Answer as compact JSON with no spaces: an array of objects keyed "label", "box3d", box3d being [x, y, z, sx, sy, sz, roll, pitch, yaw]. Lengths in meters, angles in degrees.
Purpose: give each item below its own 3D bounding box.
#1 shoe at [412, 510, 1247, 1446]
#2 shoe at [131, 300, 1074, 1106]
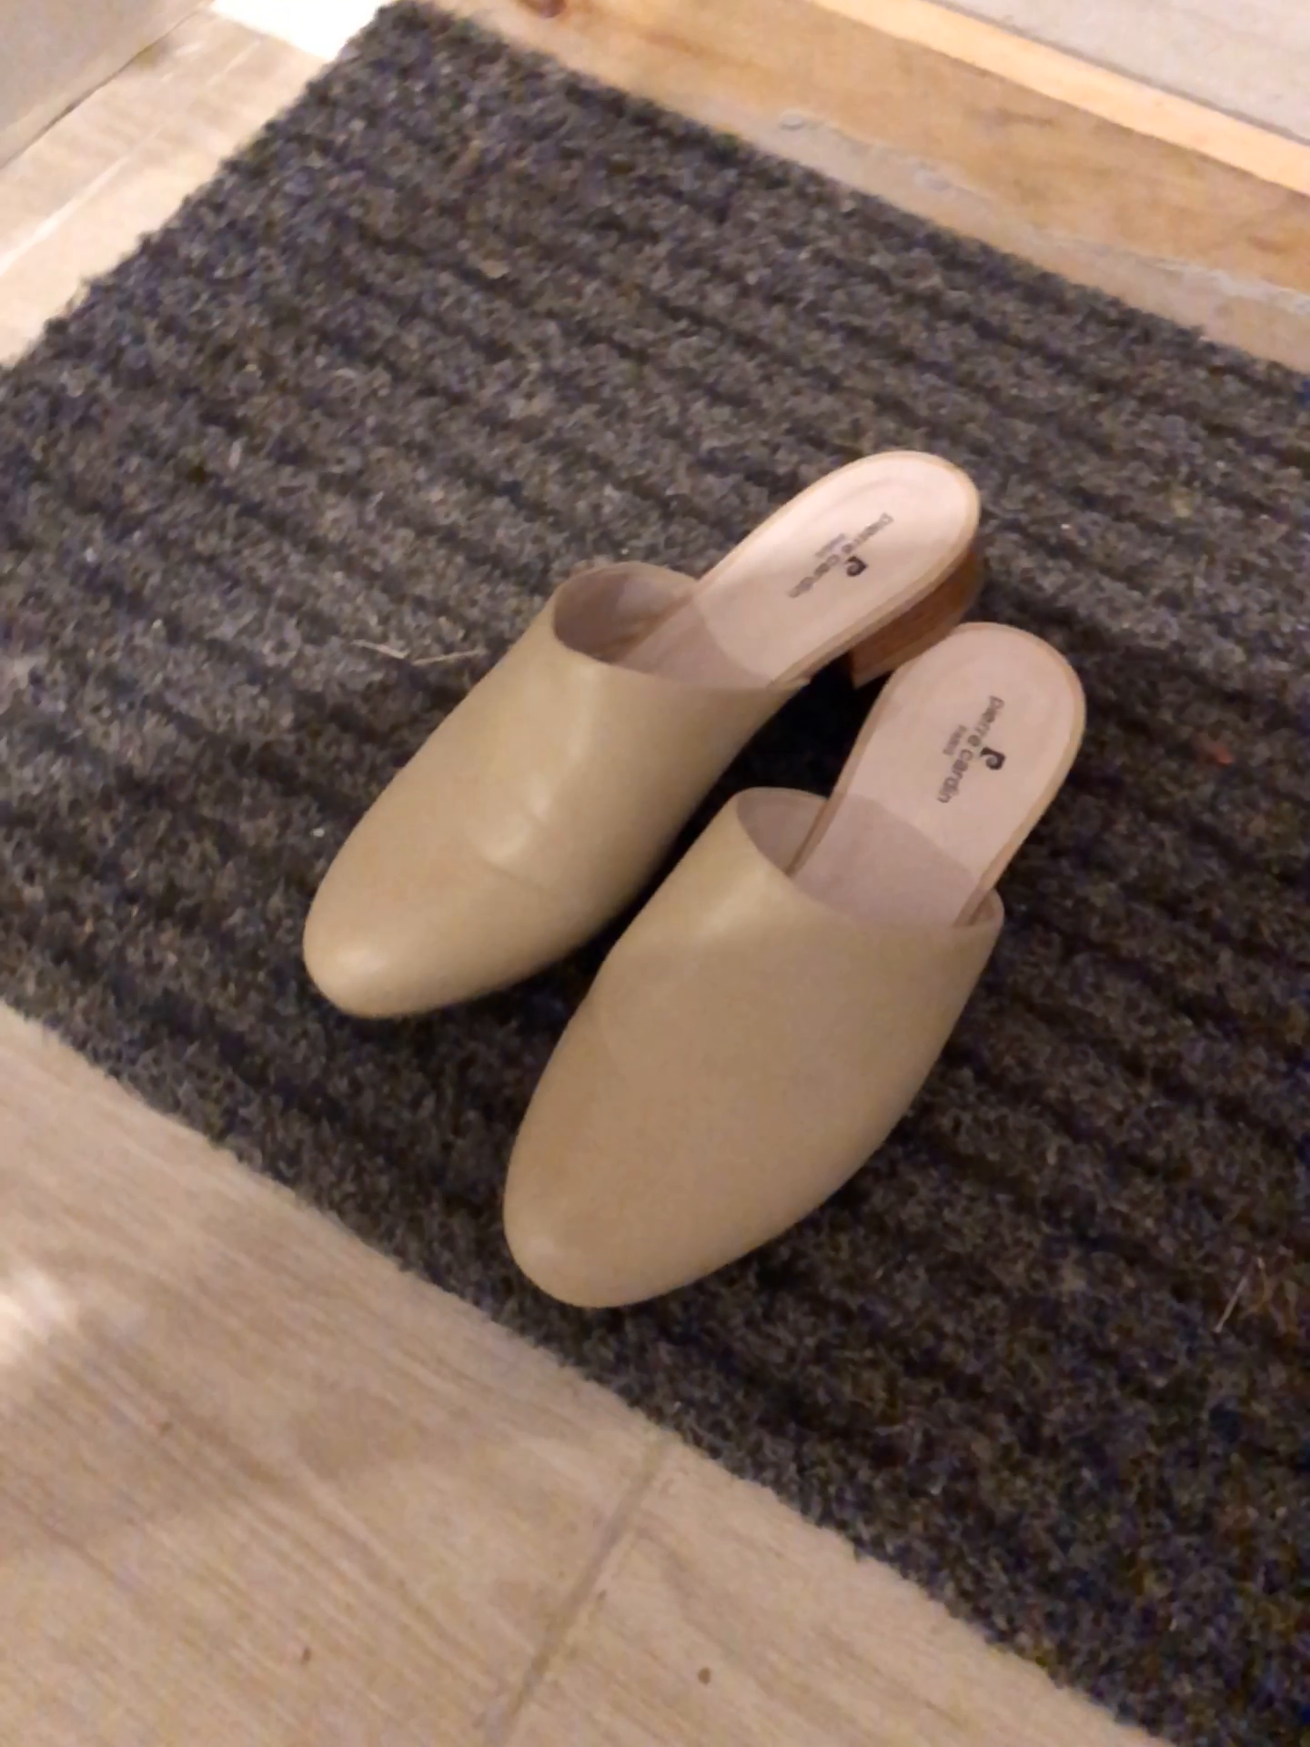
[{"label":"shoe","box3d":[0.054,0.021,0.402,0.090,0.070,0.251,35,69,14]},{"label":"shoe","box3d":[-0.007,-0.054,0.413,0.251,0.070,0.090,-37,70,-17]}]
